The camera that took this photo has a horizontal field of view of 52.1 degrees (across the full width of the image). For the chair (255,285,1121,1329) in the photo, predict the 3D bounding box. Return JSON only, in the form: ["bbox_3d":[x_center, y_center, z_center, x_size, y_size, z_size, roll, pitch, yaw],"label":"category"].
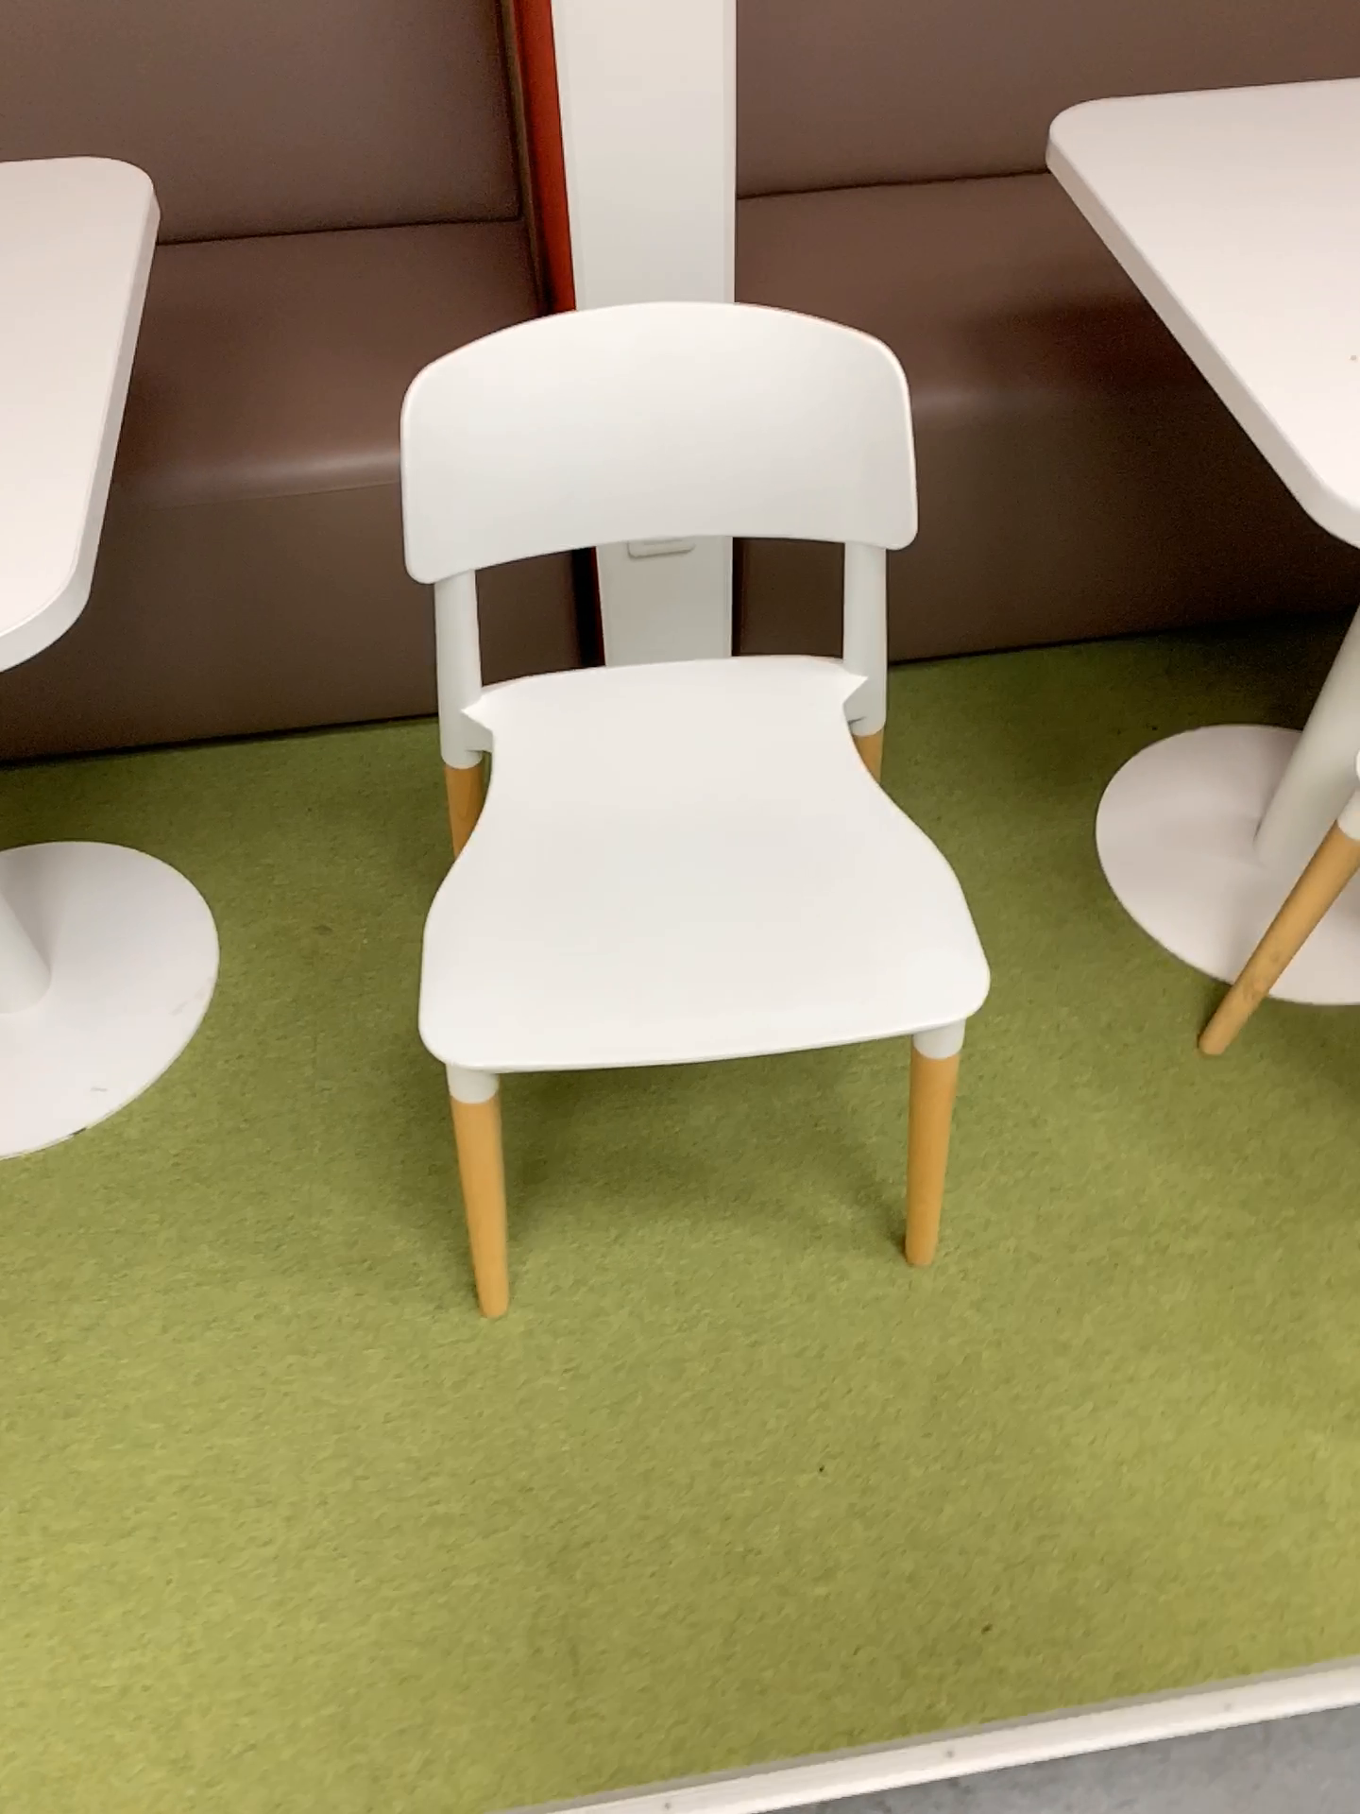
[{"bbox_3d":[-0.011,-0.042,1.261,0.500,0.787,0.502,-5,50,-3],"label":"chair"}]
